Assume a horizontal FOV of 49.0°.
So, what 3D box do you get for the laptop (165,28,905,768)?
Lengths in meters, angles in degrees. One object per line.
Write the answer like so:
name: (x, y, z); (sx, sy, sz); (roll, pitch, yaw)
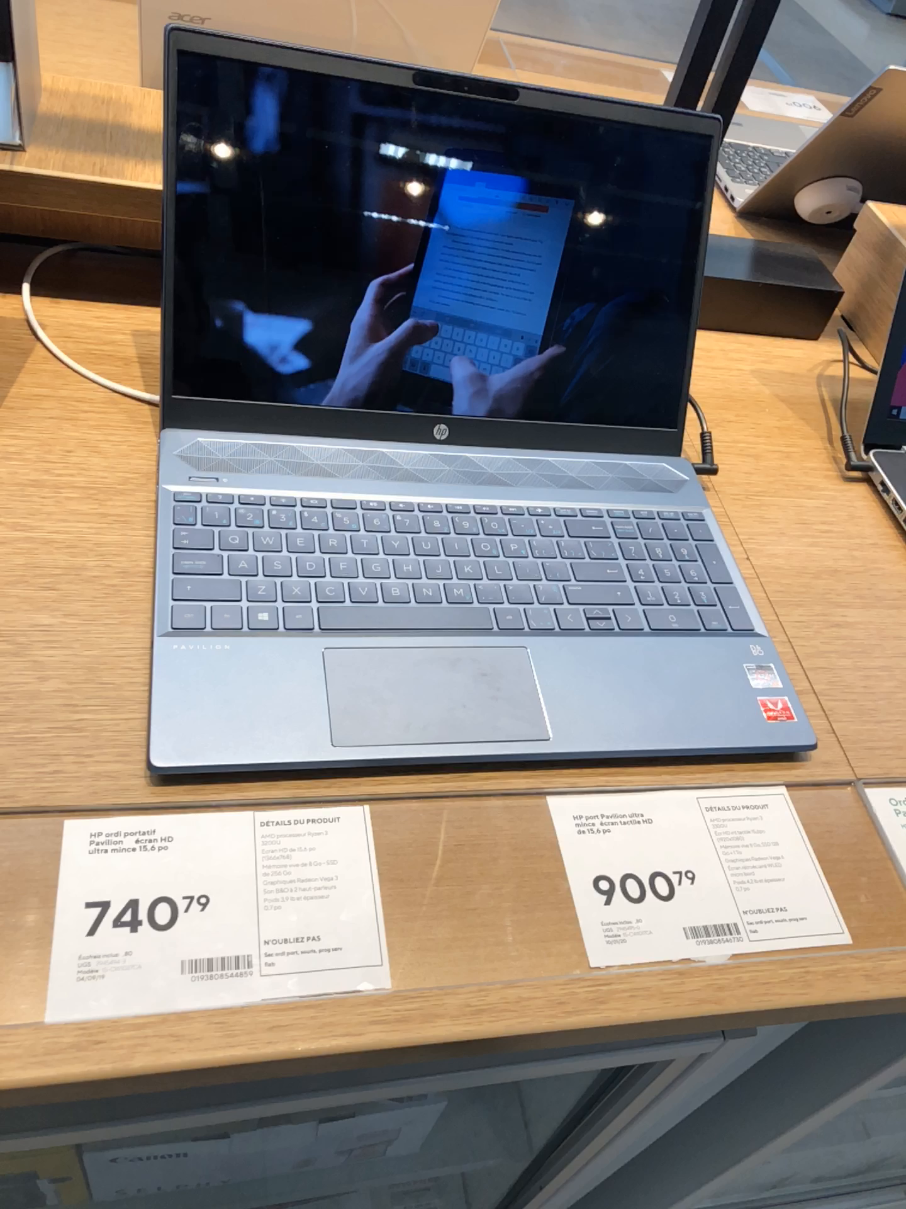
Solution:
laptop: (0.020, -0.118, 0.544); (0.338, 0.185, 0.357); (1, 48, -17)
